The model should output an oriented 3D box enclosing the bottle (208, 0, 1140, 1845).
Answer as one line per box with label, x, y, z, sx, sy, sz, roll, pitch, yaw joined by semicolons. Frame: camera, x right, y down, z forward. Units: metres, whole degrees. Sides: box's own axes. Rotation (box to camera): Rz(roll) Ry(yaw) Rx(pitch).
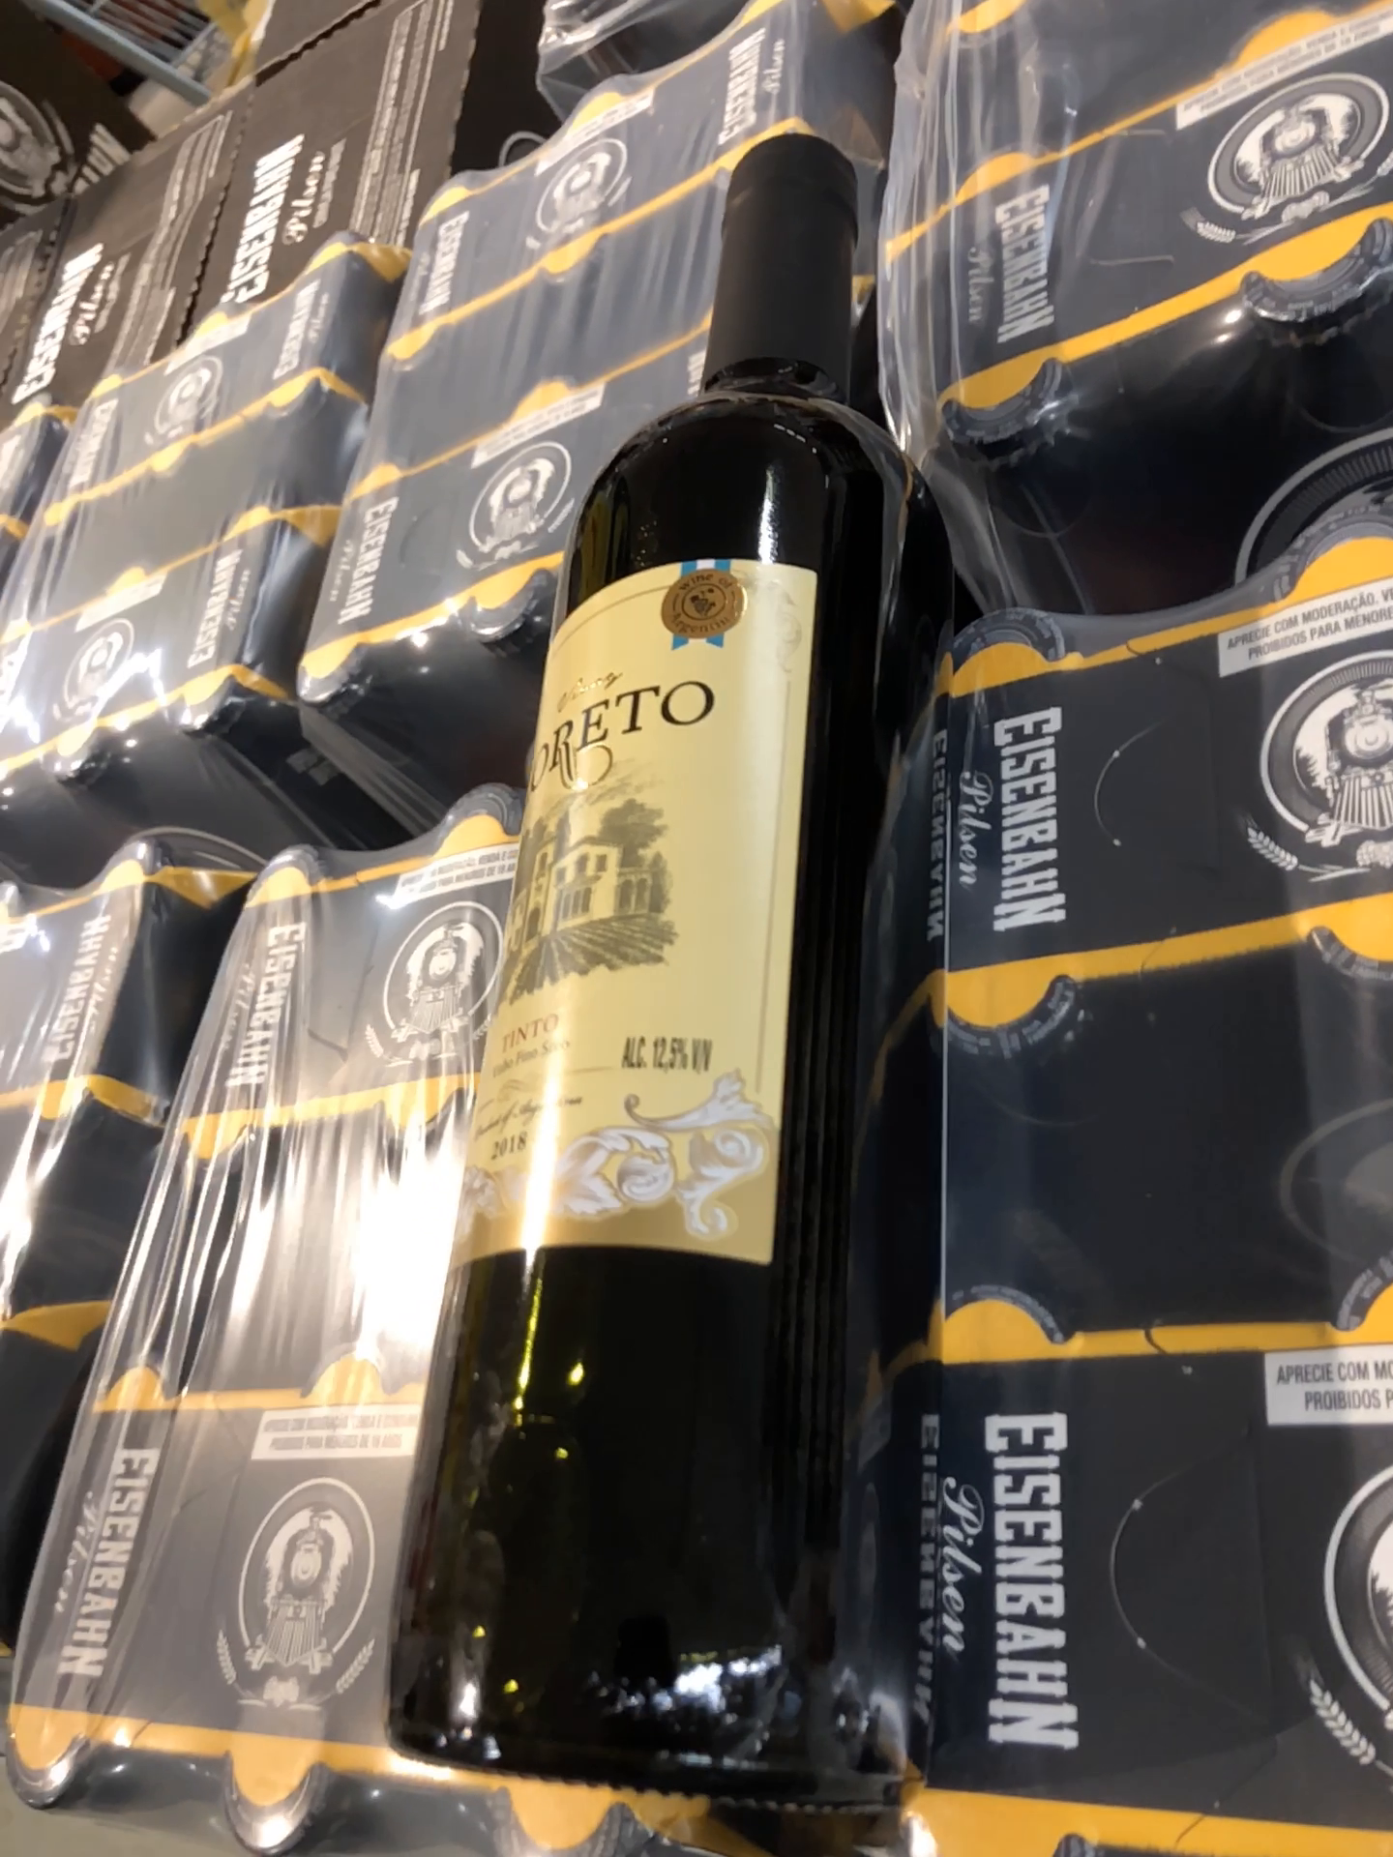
bottle;0.011;-0.042;0.263;0.080;0.080;0.331;-23;51;43
